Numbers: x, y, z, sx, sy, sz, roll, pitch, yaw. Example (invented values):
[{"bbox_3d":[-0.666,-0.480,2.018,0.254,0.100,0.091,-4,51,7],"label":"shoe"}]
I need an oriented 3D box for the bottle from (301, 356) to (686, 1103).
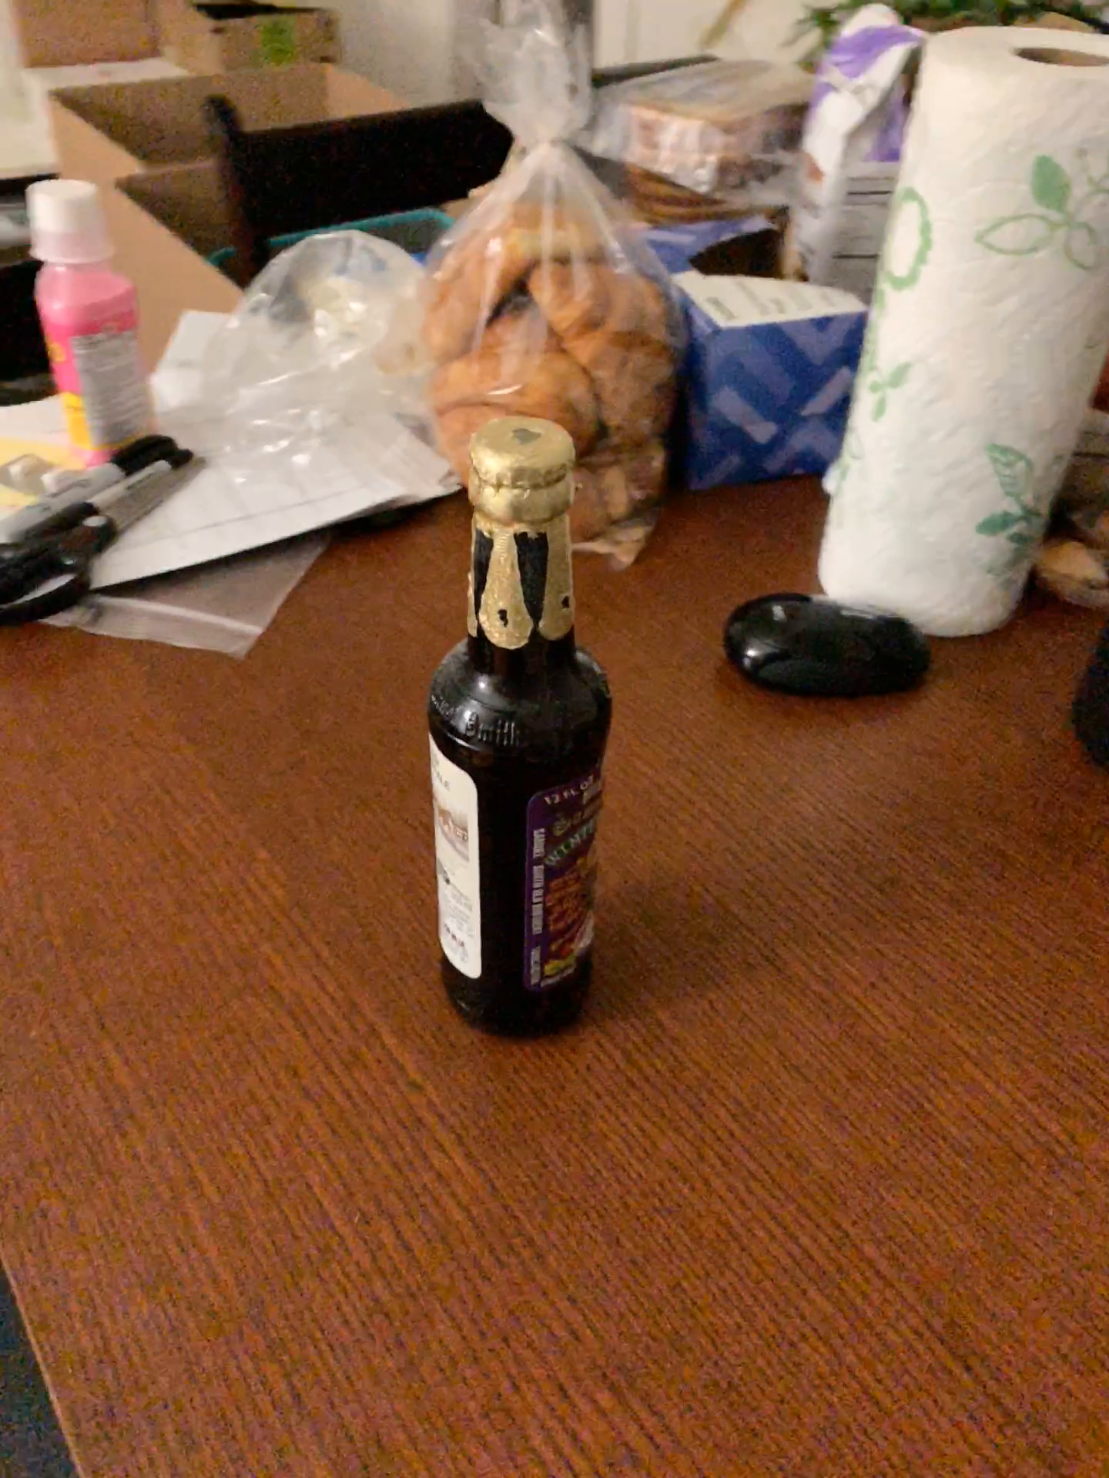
[{"bbox_3d":[-0.018,0.010,0.365,0.070,0.229,0.070,2,41,-1],"label":"bottle"}]
